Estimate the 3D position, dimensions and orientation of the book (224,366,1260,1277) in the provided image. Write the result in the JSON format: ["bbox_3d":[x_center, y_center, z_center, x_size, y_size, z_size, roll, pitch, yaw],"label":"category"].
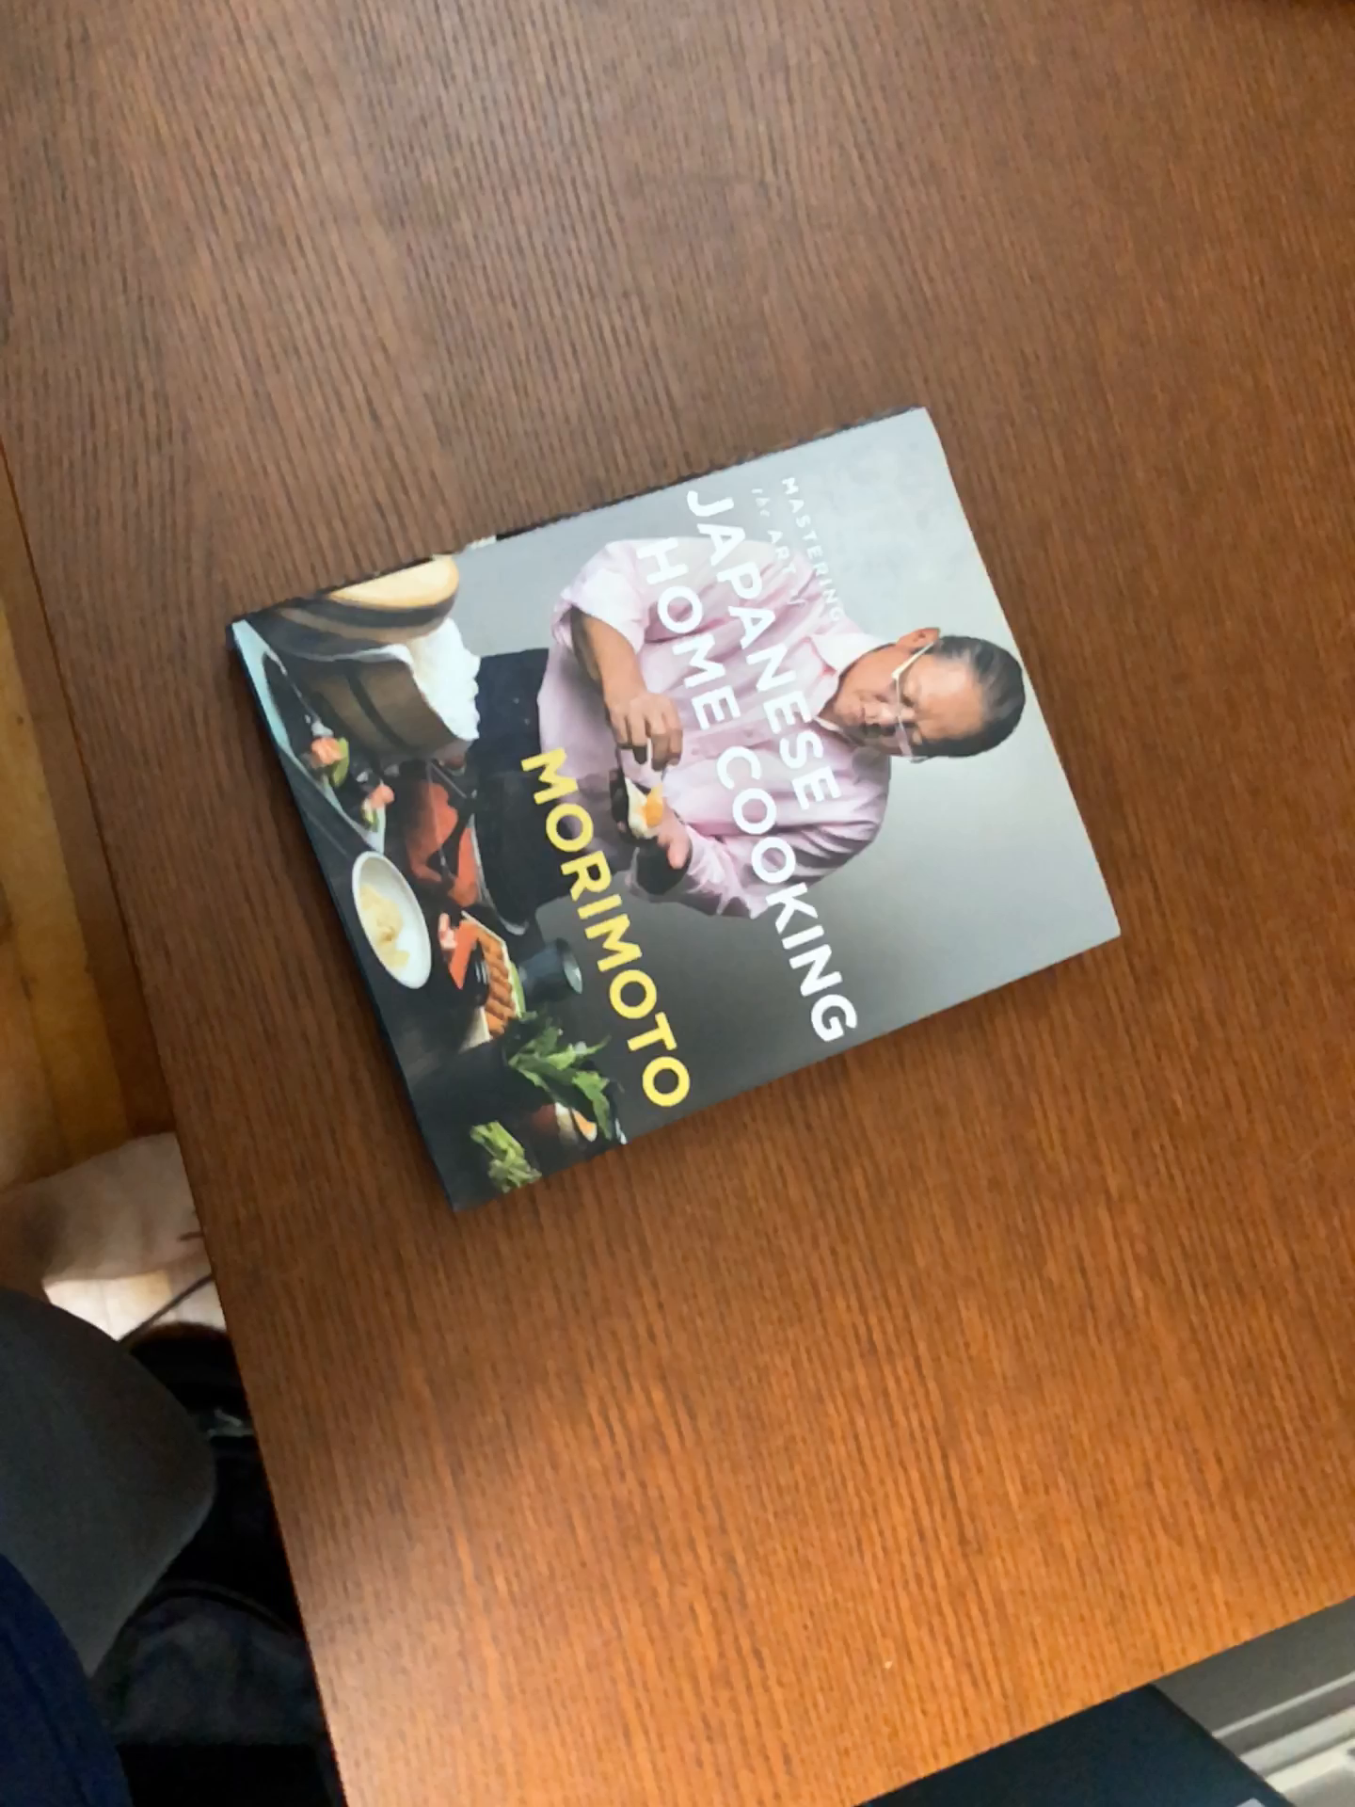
[{"bbox_3d":[0.030,-0.037,0.518,0.300,0.030,0.220,-21,90,-13],"label":"book"}]
